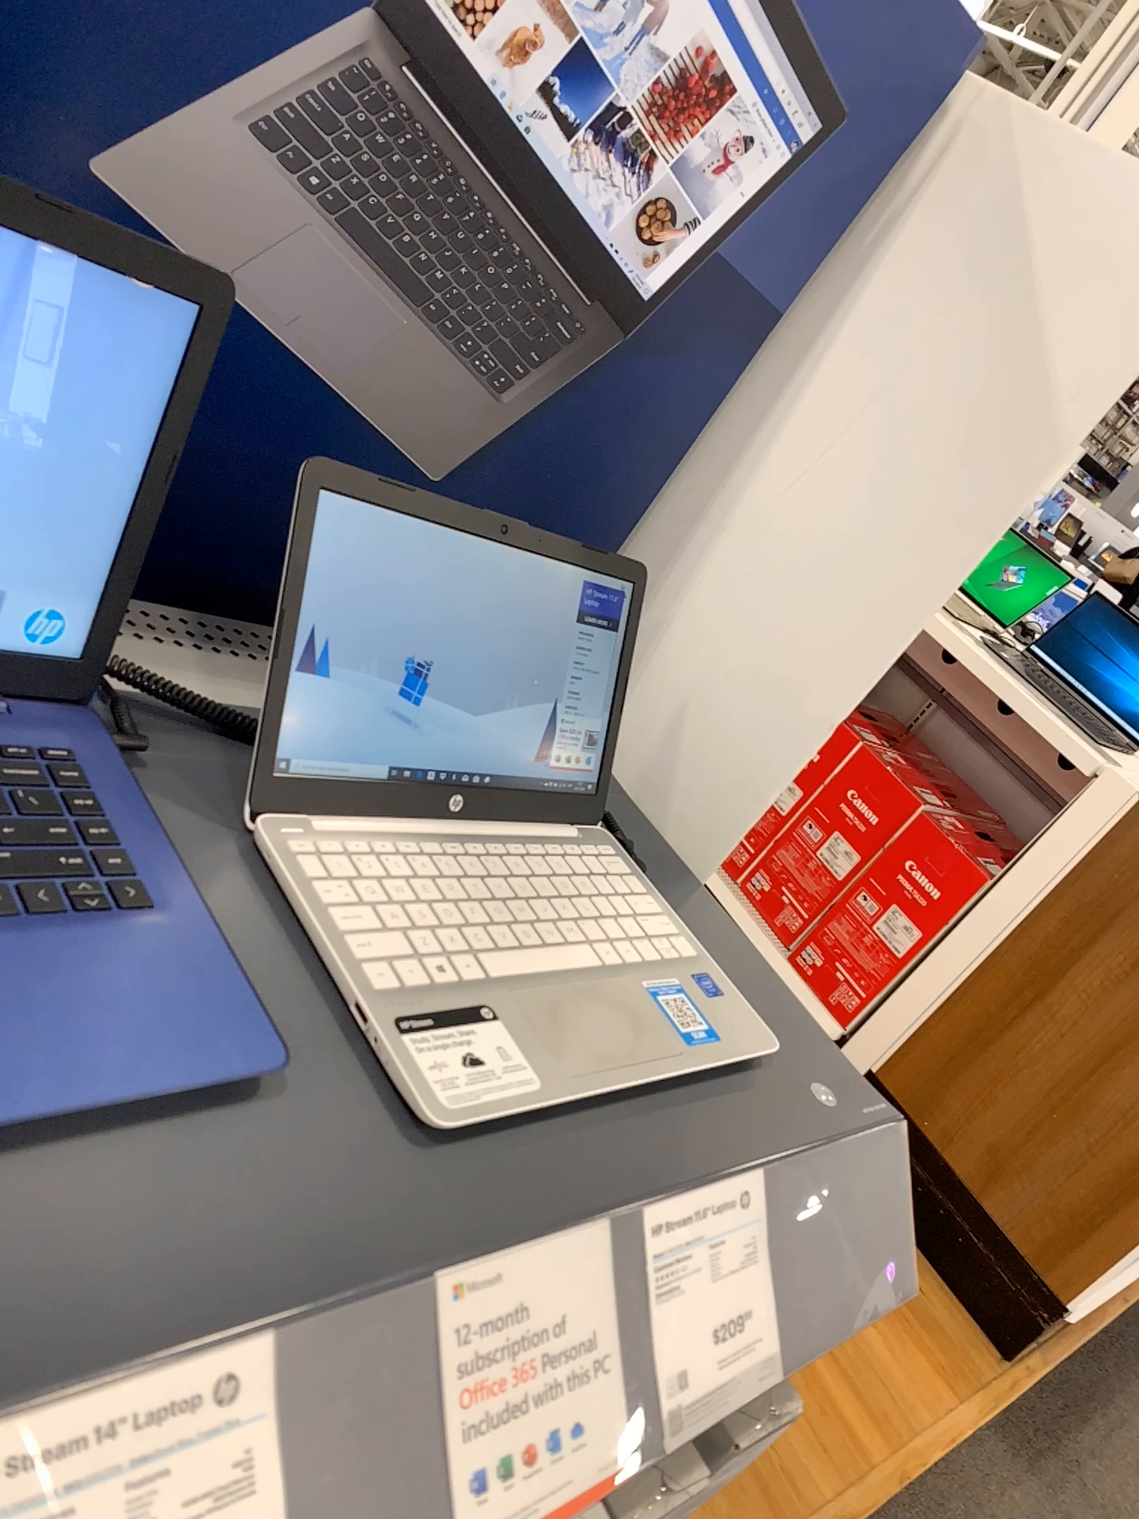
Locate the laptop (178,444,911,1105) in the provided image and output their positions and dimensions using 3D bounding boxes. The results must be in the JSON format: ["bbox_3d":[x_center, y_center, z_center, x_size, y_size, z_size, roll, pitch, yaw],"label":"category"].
[{"bbox_3d":[-0.010,0.004,0.620,0.267,0.144,0.274,7,37,-52],"label":"laptop"}]
